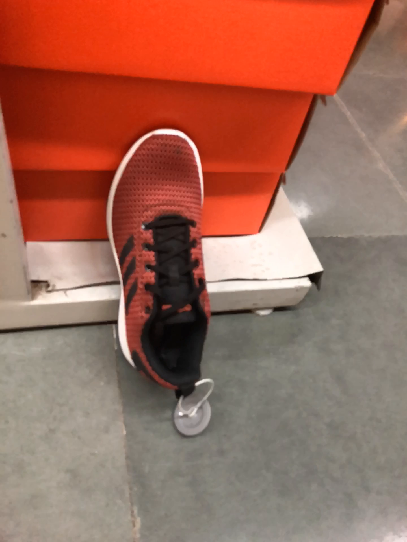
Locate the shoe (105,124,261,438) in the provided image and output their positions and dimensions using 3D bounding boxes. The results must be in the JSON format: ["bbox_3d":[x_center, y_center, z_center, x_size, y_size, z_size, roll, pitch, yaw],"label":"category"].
[{"bbox_3d":[-0.035,0.000,0.442,0.110,0.271,0.133,-2,17,-19],"label":"shoe"}]
